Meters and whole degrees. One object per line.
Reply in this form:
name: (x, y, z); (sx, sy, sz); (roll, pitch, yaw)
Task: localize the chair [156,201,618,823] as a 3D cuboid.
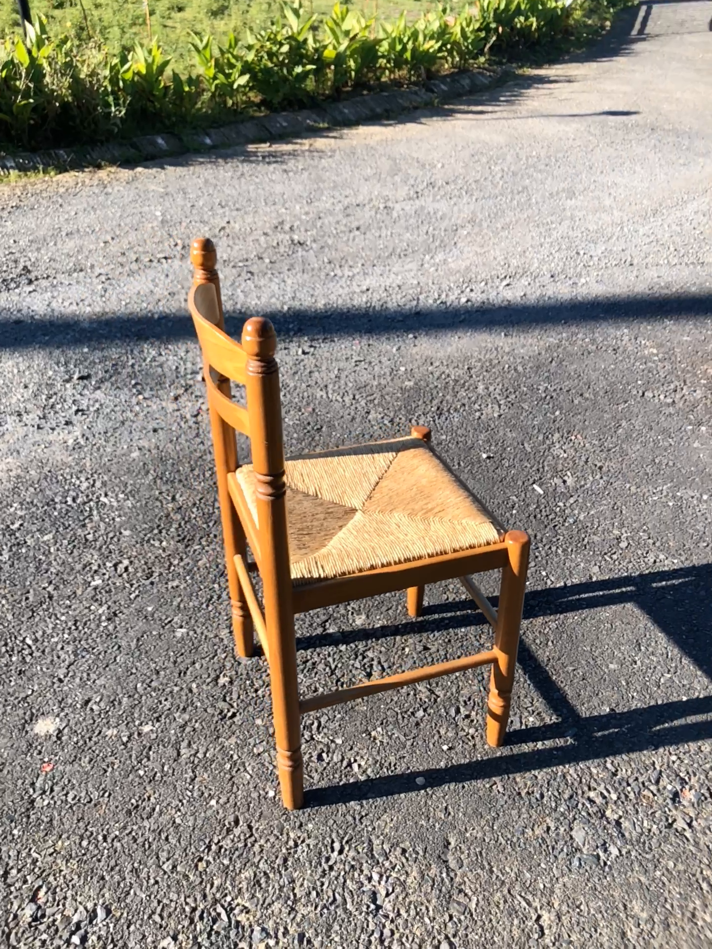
chair: (0.012, 0.040, 1.278); (0.491, 0.795, 0.492); (-11, 33, -15)
